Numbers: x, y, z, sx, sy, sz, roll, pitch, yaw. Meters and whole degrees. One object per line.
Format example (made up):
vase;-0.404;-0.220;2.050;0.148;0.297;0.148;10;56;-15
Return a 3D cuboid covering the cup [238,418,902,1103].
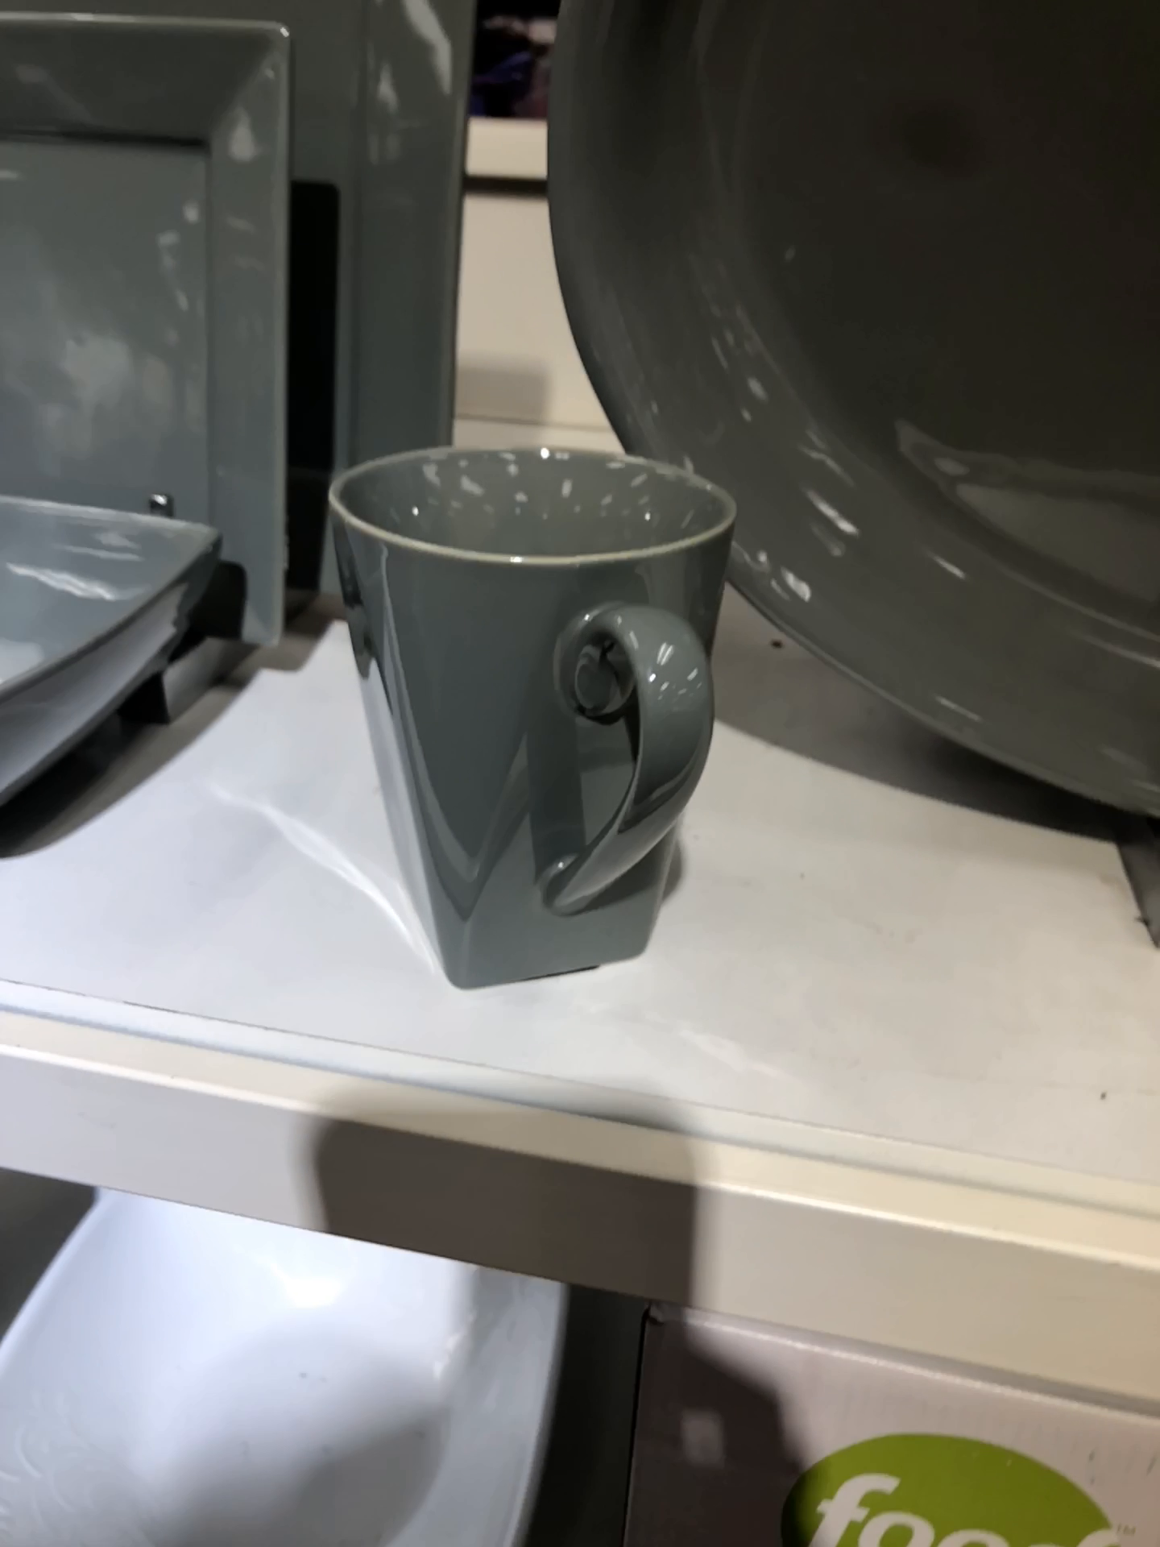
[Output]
cup;-0.012;-0.014;0.291;0.100;0.097;0.118;-9;31;-21
